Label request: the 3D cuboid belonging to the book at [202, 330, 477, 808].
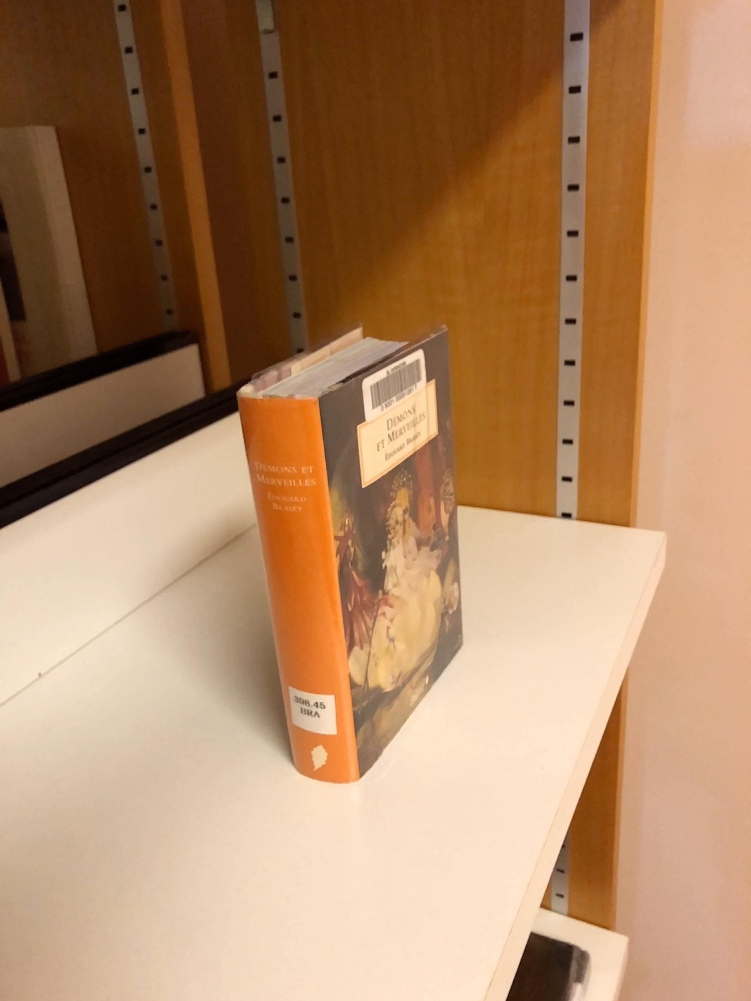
[{"bbox_3d":[-0.004,0.020,0.341,0.047,0.155,0.115,6,24,27],"label":"book"}]
